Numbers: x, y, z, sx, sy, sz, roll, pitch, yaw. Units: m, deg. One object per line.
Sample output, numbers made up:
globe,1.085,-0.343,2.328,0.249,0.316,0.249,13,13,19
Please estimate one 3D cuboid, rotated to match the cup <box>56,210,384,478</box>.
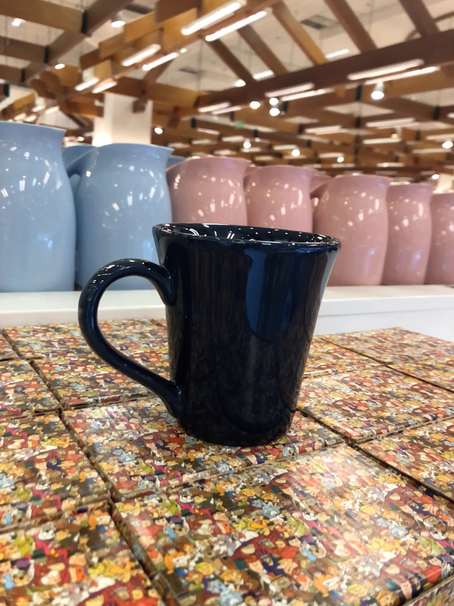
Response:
cup,-0.008,0.006,0.250,0.120,0.090,0.100,-3,14,-35
